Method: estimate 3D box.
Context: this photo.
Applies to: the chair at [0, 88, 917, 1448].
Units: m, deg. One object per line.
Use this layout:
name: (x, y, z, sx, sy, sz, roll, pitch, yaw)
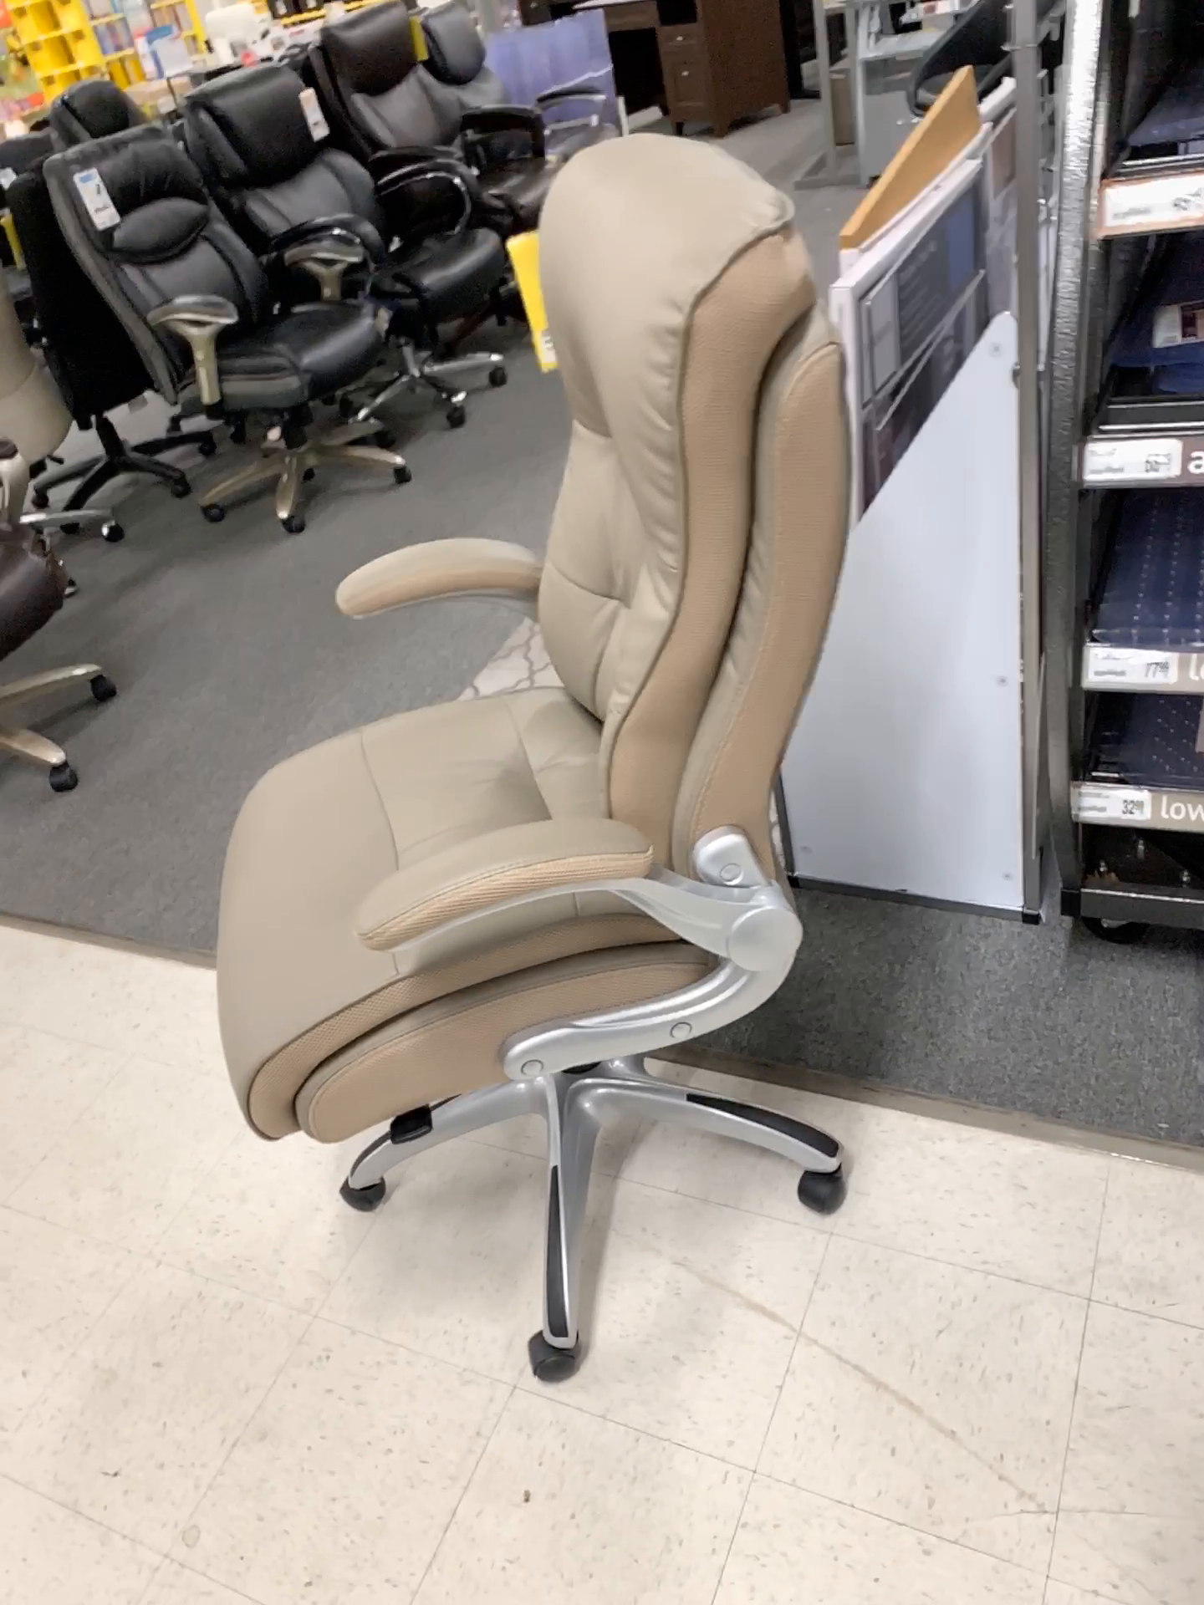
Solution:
chair: (-0.173, -0.024, 1.363, 0.720, 1.144, 0.714, -17, 36, -3)
